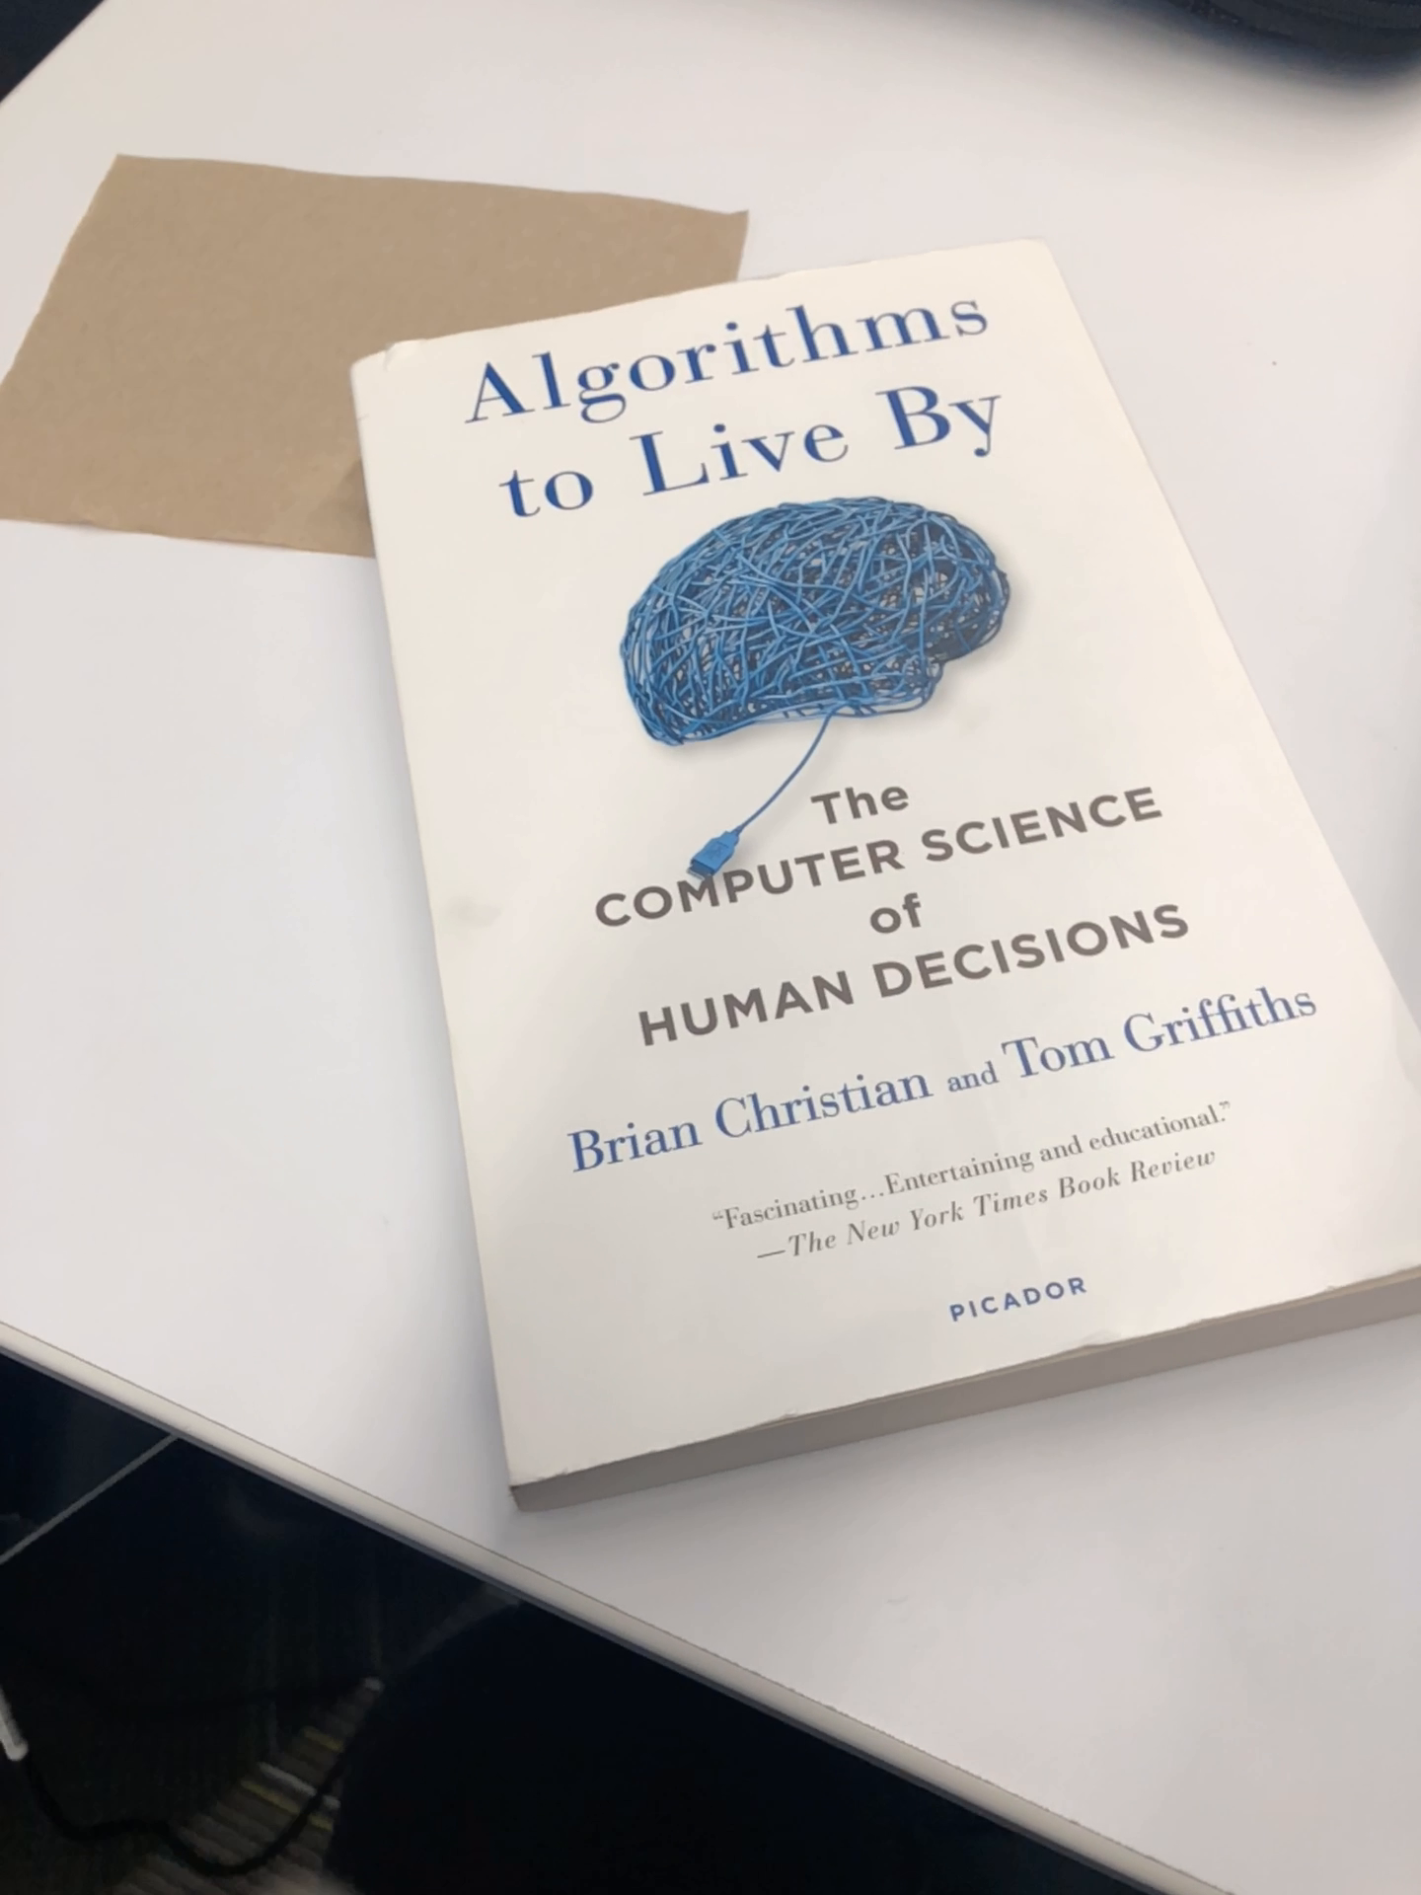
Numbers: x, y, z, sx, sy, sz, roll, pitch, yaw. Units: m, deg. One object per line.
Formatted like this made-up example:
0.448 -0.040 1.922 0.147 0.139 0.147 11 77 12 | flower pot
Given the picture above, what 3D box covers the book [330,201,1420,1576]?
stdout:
0.030 -0.028 0.273 0.160 0.040 0.221 -12 61 -4 | book
